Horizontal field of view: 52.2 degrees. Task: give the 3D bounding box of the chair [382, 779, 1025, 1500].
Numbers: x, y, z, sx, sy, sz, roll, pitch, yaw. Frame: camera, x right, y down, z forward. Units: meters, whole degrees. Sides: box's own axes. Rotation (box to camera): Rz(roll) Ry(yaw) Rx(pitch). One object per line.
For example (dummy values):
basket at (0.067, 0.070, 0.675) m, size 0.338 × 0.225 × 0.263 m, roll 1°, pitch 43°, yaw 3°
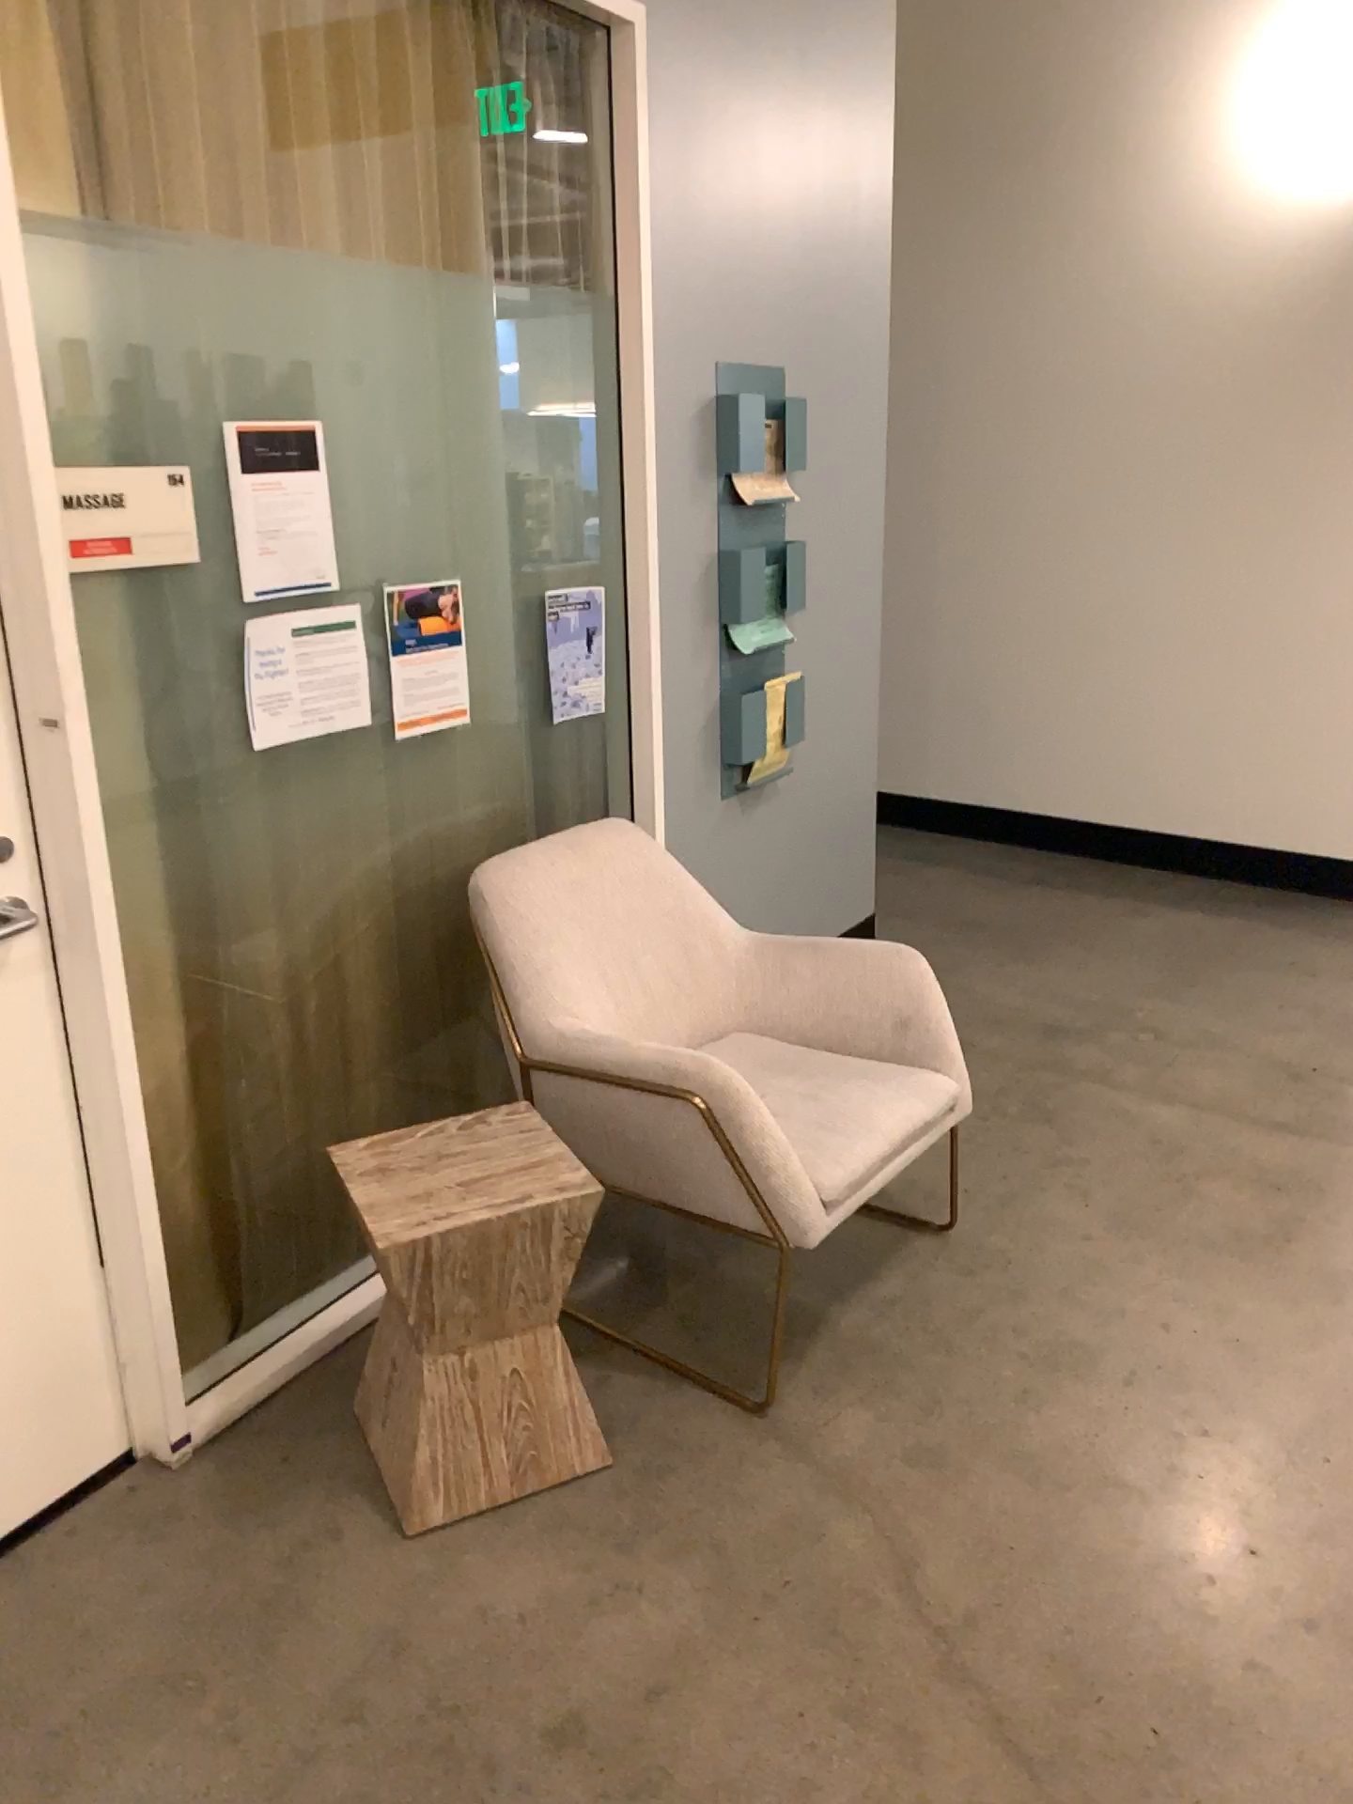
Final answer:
chair at (0.074, 0.342, 2.612) m, size 0.872 × 0.926 × 0.782 m, roll 10°, pitch 20°, yaw 32°
